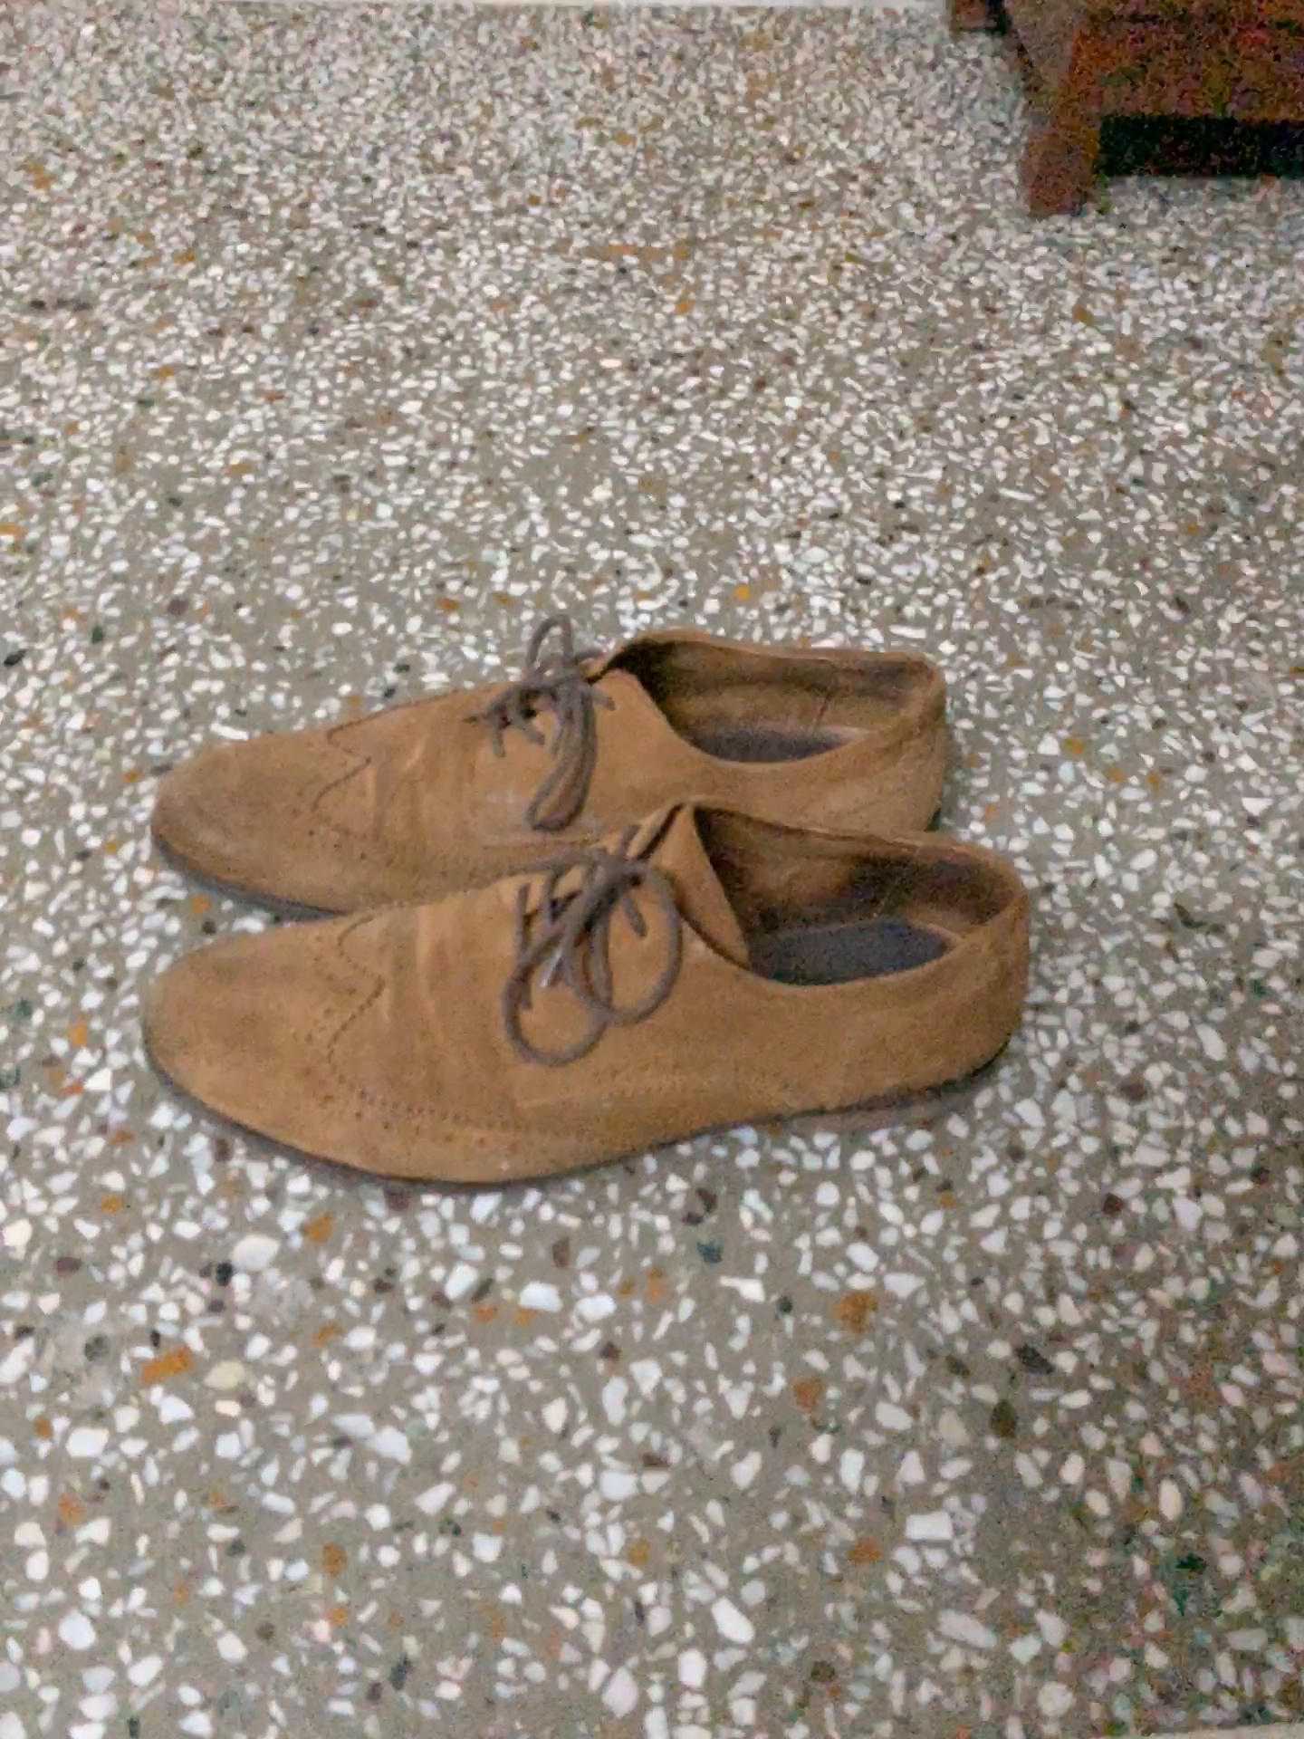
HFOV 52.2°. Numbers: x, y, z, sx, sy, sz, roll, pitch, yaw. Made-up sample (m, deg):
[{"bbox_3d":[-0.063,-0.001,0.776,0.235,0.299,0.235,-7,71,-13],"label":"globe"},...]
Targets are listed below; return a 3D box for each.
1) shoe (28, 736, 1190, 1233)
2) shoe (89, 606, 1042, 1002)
[{"bbox_3d":[-0.013,0.038,0.428,0.310,0.110,0.100,-3,54,-4],"label":"shoe"},{"bbox_3d":[-0.029,-0.024,0.507,0.310,0.110,0.100,-1,54,-3],"label":"shoe"}]
